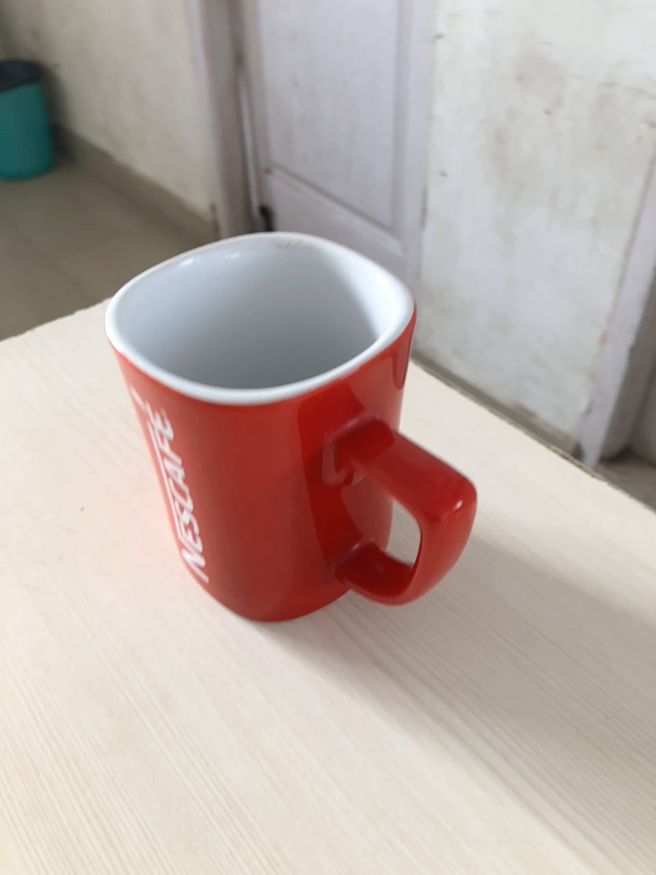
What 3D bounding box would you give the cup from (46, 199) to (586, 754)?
[{"bbox_3d":[-0.006,0.003,0.211,0.080,0.089,0.110,-32,50,-30],"label":"cup"}]
